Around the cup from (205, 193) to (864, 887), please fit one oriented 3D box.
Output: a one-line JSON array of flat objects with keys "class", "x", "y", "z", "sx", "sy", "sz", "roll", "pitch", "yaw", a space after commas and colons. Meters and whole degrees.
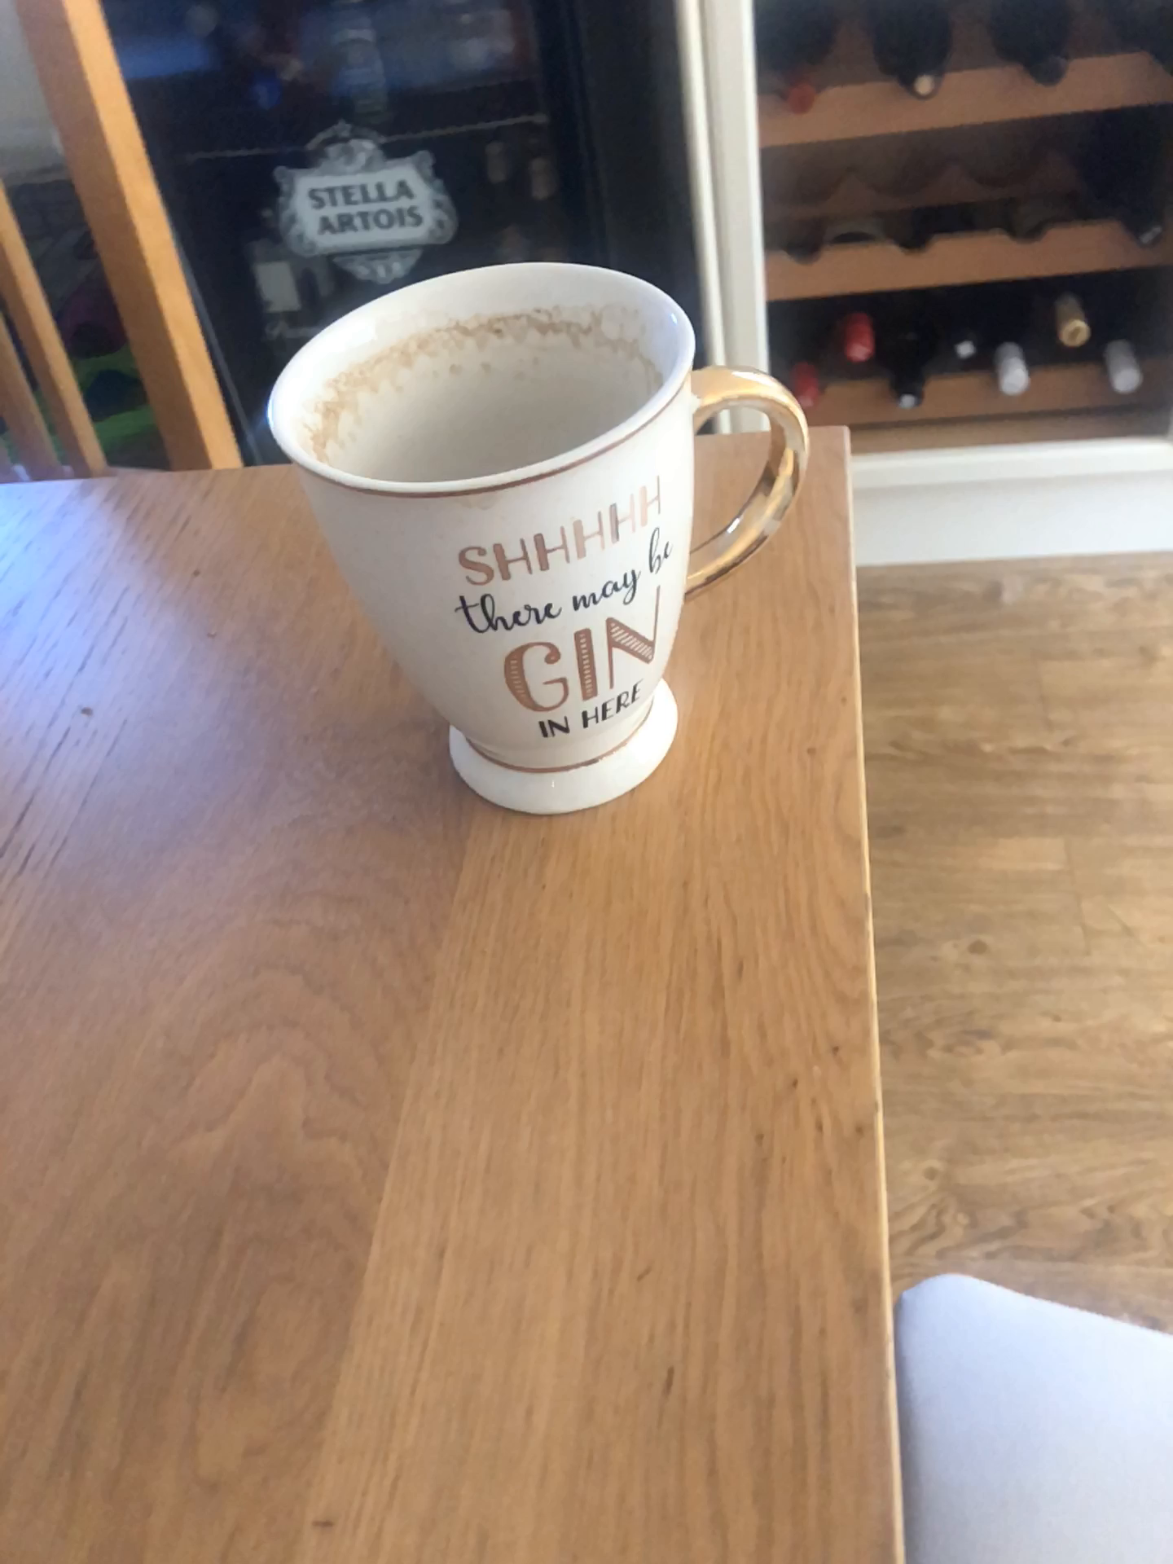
[{"class": "cup", "x": -0.012, "y": -0.068, "z": 0.353, "sx": 0.135, "sy": 0.111, "sz": 0.109, "roll": -20, "pitch": 46, "yaw": -8}]
